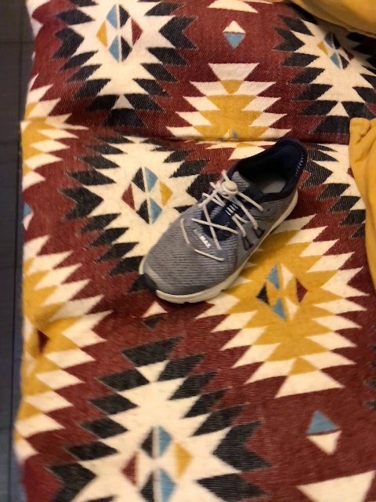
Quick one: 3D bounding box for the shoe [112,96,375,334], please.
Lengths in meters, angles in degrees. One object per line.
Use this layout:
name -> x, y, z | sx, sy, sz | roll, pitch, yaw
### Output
shoe -> 0.049, -0.035, 0.372 | 0.212, 0.074, 0.094 | -37, 76, -17
